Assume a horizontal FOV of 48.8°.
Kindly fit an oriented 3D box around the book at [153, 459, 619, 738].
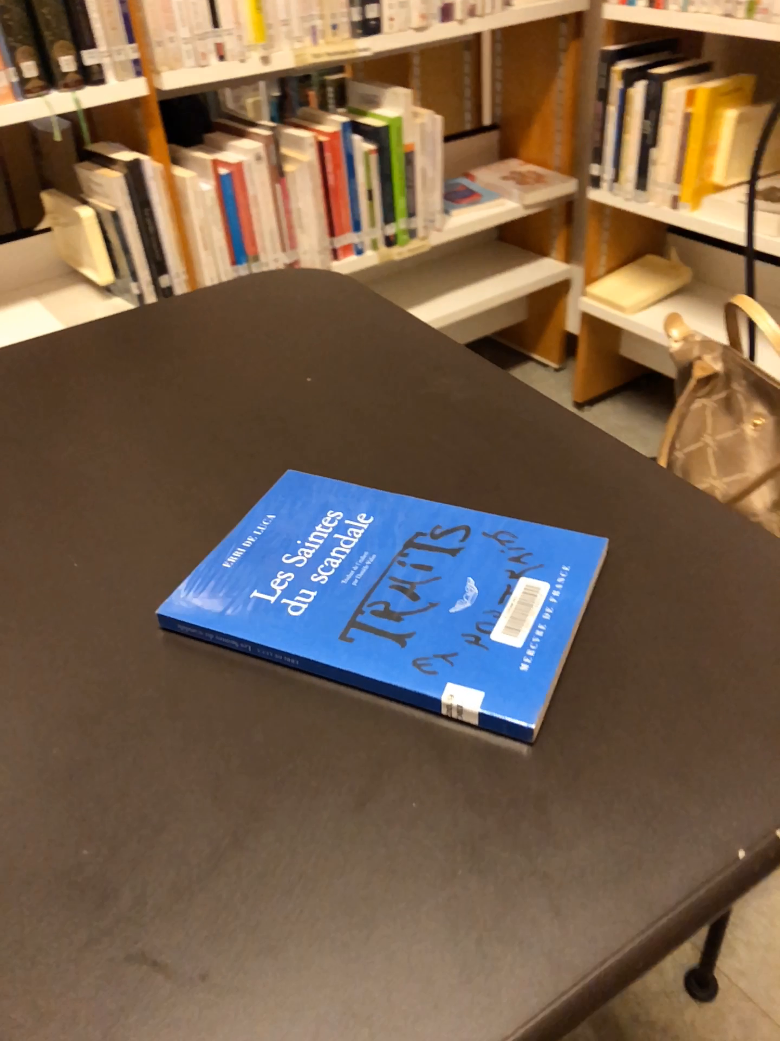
[{"bbox_3d":[0.002,0.029,0.473,0.215,0.017,0.145,12,40,21],"label":"book"}]
